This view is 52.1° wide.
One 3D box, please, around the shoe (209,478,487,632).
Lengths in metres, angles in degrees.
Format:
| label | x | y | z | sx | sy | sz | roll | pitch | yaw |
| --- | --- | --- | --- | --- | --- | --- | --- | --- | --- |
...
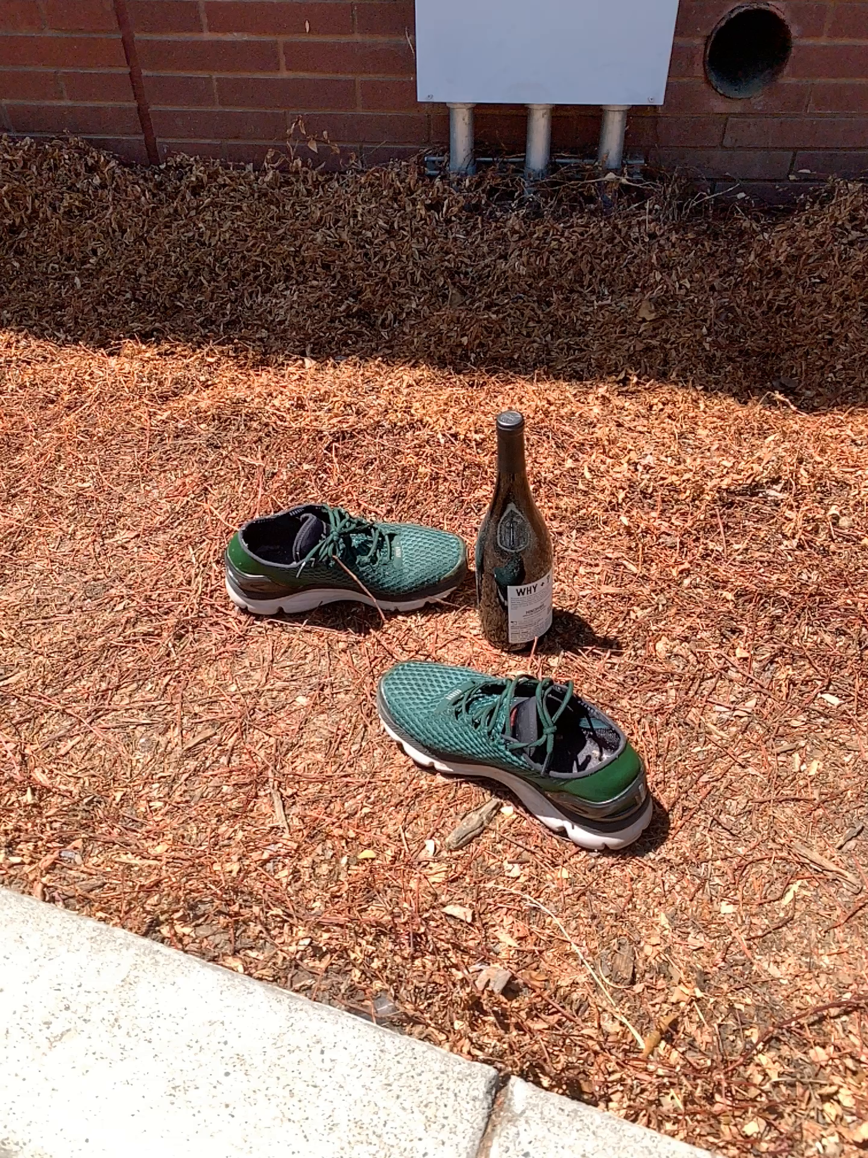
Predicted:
| label | x | y | z | sx | sy | sz | roll | pitch | yaw |
| --- | --- | --- | --- | --- | --- | --- | --- | --- | --- |
| shoe | -0.097 | -0.030 | 1.041 | 0.300 | 0.099 | 0.131 | -4 | 44 | -3 |

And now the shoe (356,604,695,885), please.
| label | x | y | z | sx | sy | sz | roll | pitch | yaw |
| --- | --- | --- | --- | --- | --- | --- | --- | --- | --- |
| shoe | 0.081 | 0.150 | 0.855 | 0.291 | 0.099 | 0.120 | 23 | 49 | 23 |
